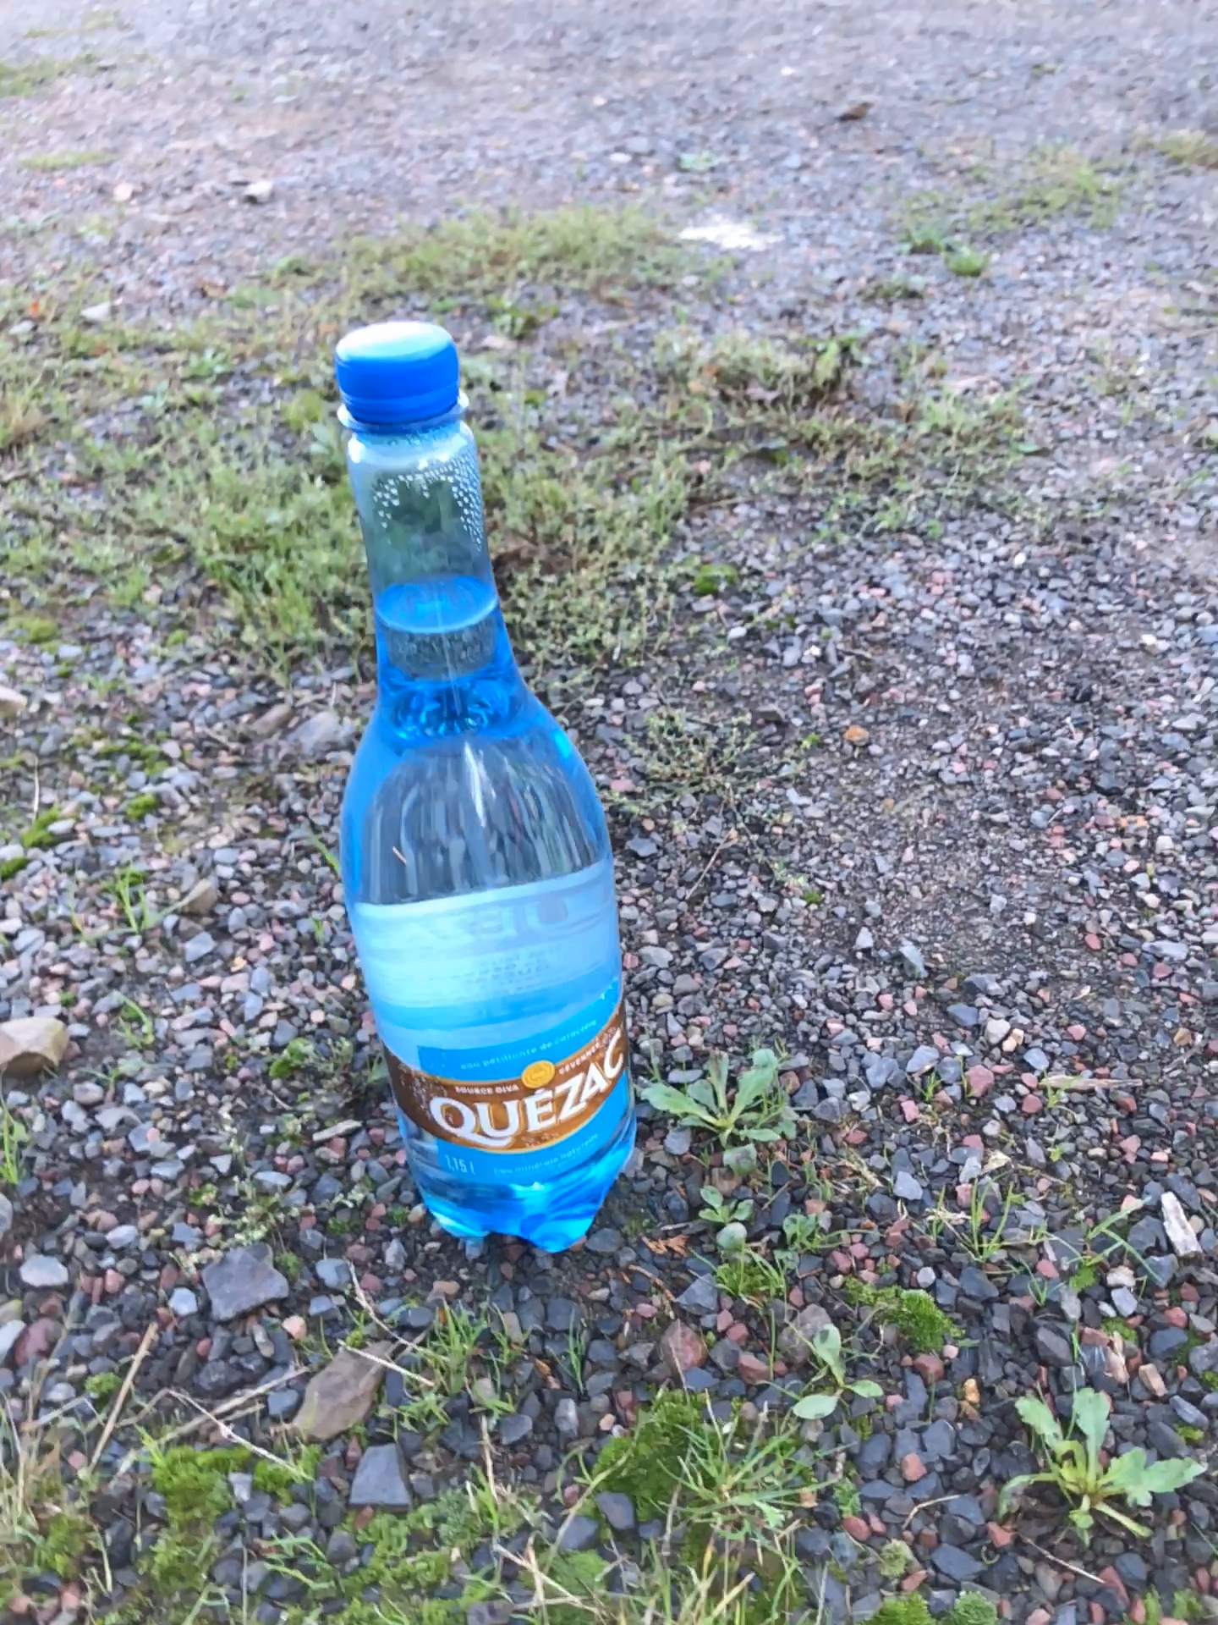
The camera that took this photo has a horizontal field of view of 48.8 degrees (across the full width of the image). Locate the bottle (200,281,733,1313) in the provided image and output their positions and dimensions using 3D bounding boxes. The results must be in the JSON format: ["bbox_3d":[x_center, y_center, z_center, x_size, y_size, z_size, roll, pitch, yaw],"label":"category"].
[{"bbox_3d":[-0.036,0.011,0.417,0.110,0.298,0.110,-1,39,1],"label":"bottle"}]
